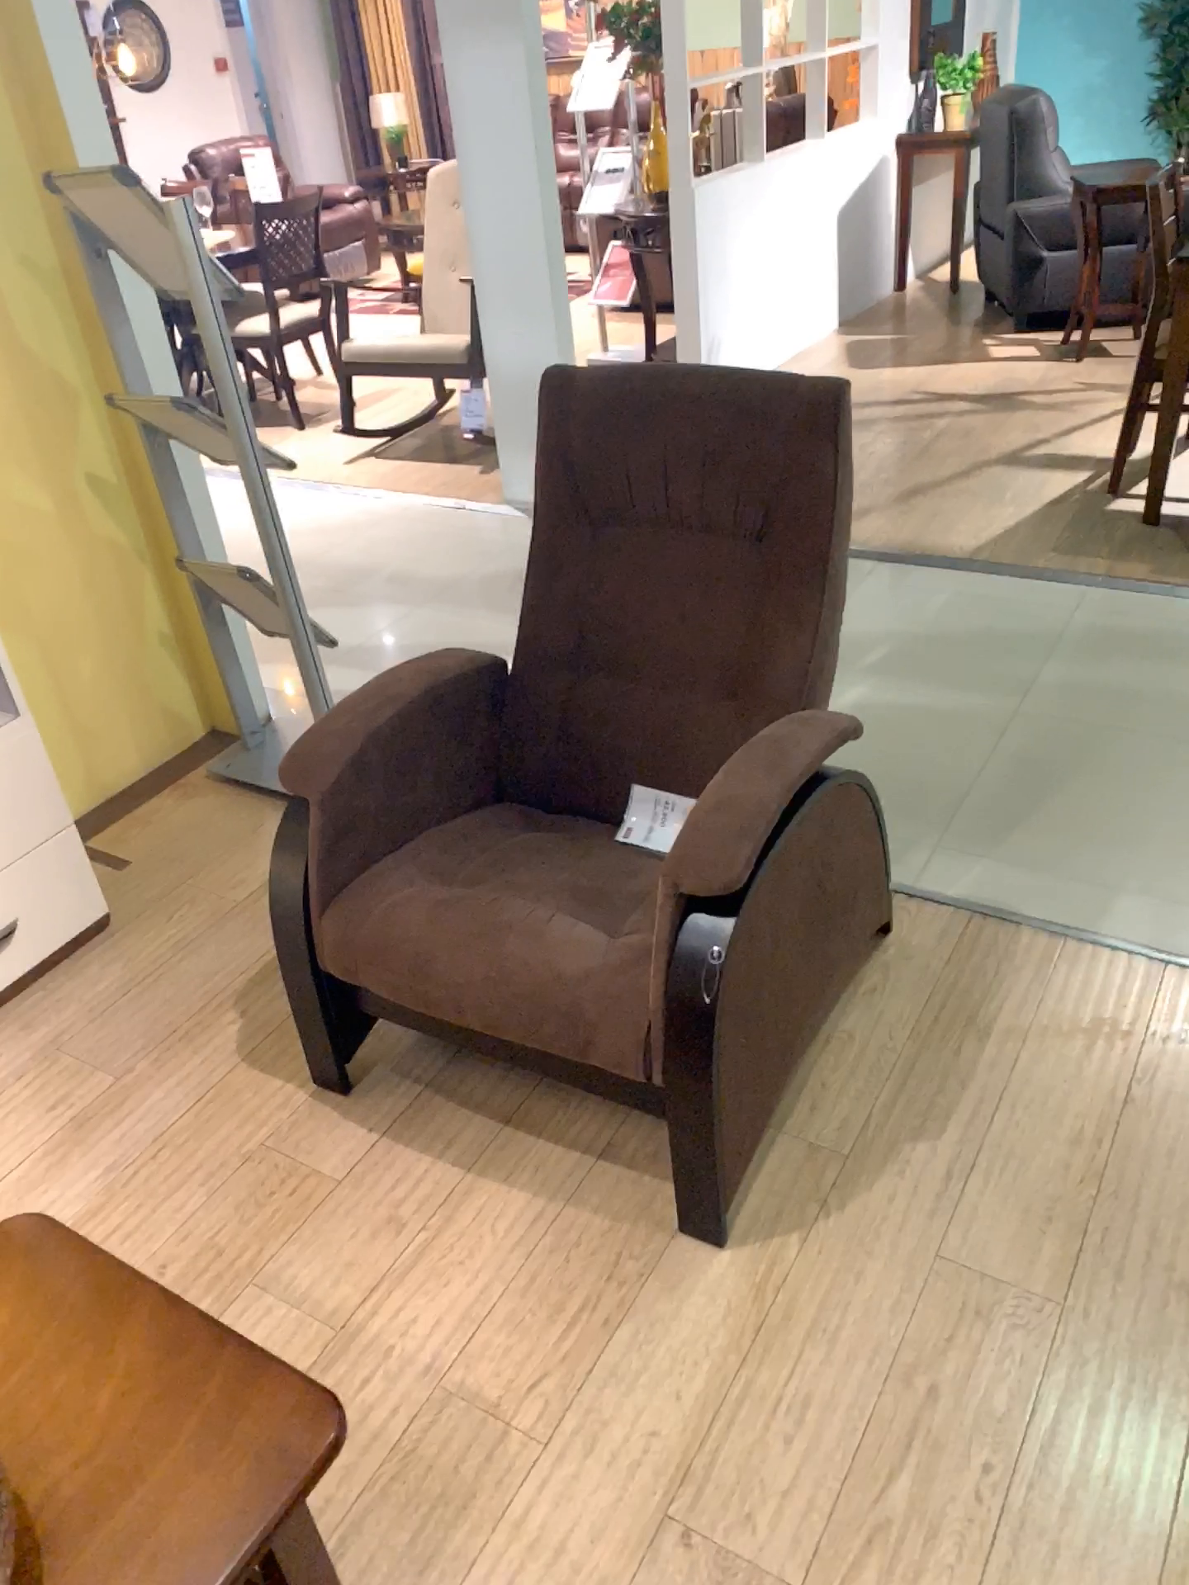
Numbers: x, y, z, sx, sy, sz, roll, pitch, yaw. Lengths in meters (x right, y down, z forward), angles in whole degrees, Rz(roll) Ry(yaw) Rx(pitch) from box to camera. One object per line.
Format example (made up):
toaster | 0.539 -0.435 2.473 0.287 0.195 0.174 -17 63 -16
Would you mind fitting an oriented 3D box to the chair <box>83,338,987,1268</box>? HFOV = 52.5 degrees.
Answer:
chair | 0.028 -0.101 1.837 0.802 0.886 1.002 12 37 27
